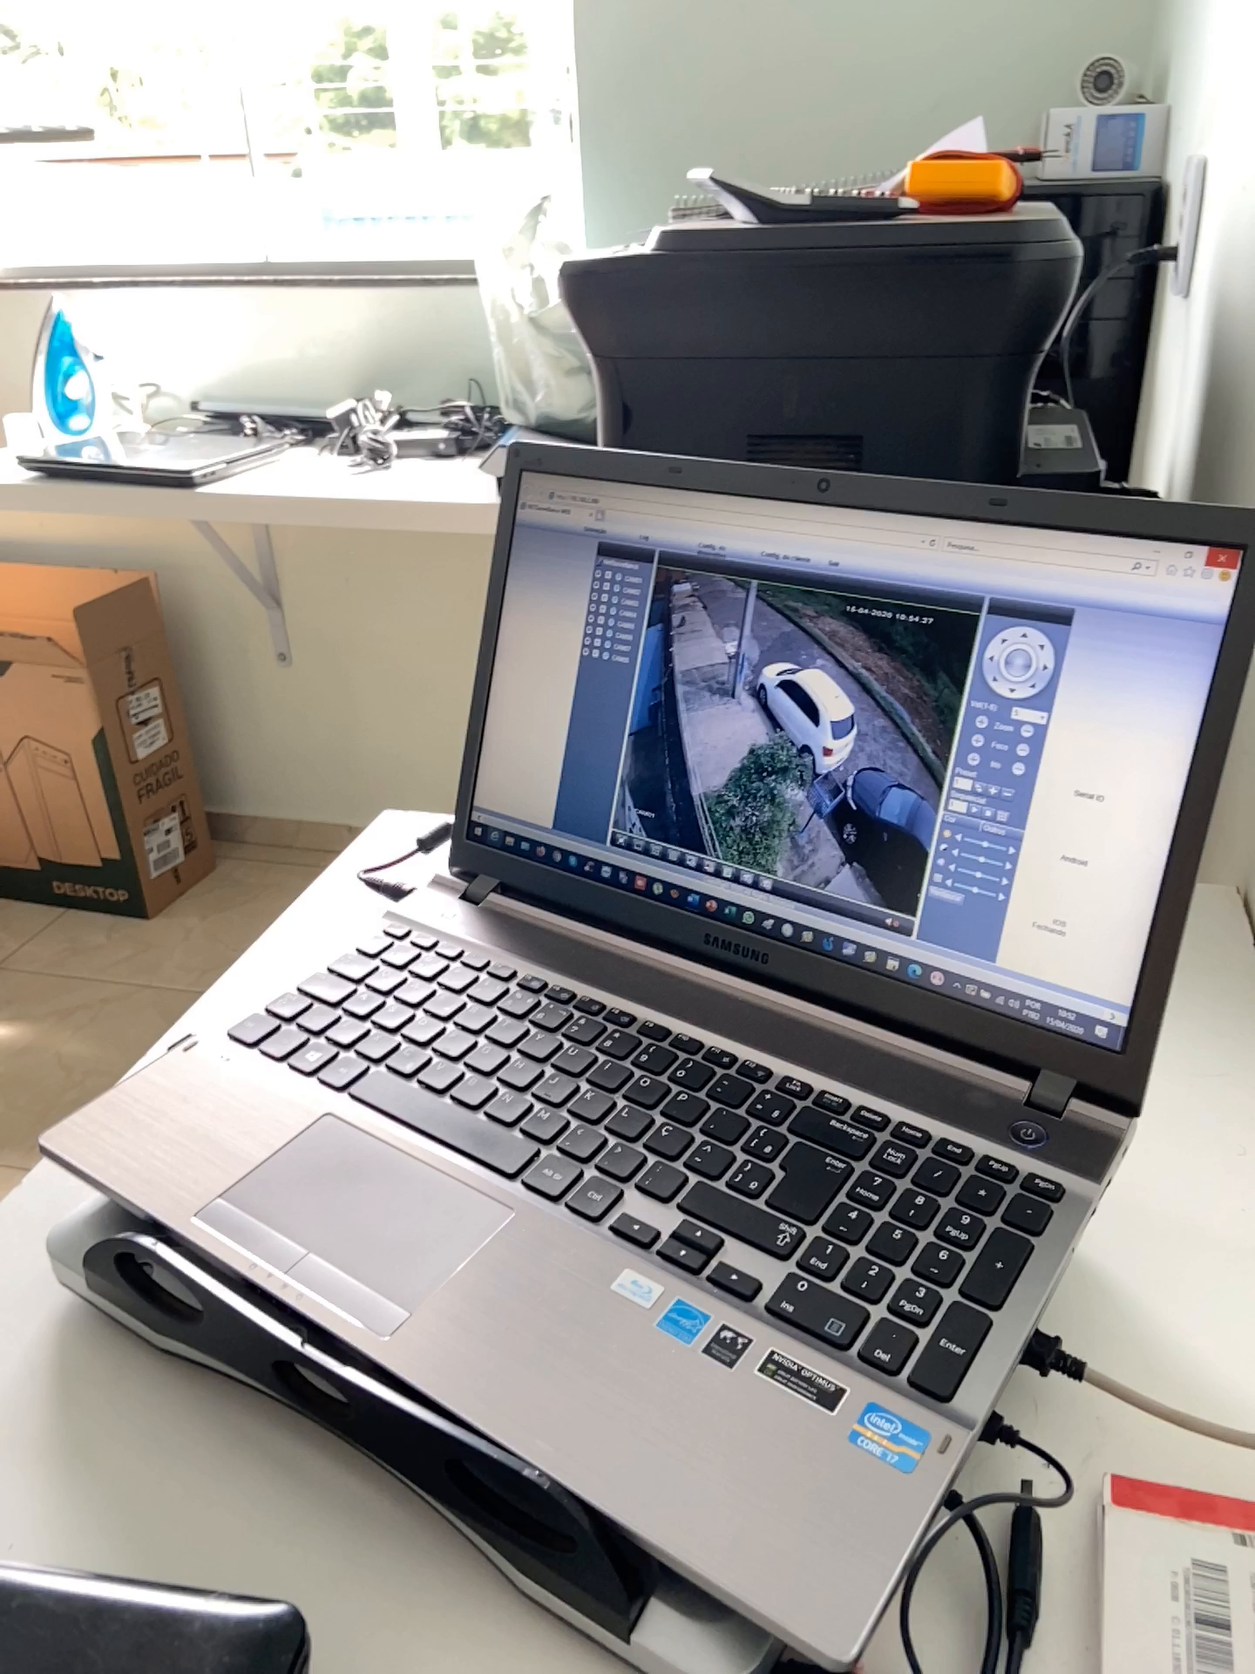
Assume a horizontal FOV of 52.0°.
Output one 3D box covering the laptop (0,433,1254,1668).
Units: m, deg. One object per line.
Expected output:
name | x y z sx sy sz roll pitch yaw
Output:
laptop | 0.003 0.001 0.496 0.367 0.213 0.336 16 34 33
